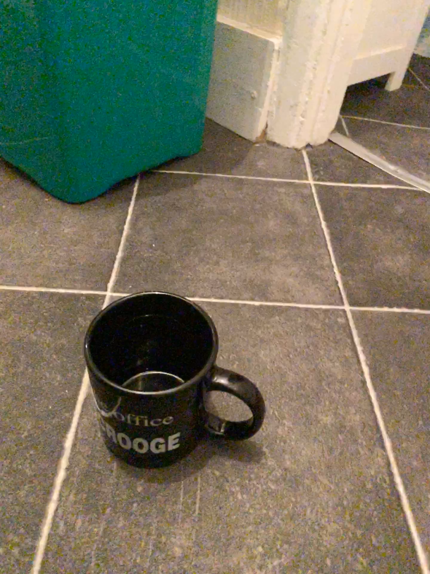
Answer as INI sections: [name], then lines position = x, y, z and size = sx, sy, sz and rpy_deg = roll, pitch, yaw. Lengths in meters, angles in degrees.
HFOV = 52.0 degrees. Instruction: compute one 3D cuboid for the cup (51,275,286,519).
[cup]
position = -0.028, 0.075, 0.302
size = 0.117, 0.115, 0.081
rpy_deg = 17, 44, 10
